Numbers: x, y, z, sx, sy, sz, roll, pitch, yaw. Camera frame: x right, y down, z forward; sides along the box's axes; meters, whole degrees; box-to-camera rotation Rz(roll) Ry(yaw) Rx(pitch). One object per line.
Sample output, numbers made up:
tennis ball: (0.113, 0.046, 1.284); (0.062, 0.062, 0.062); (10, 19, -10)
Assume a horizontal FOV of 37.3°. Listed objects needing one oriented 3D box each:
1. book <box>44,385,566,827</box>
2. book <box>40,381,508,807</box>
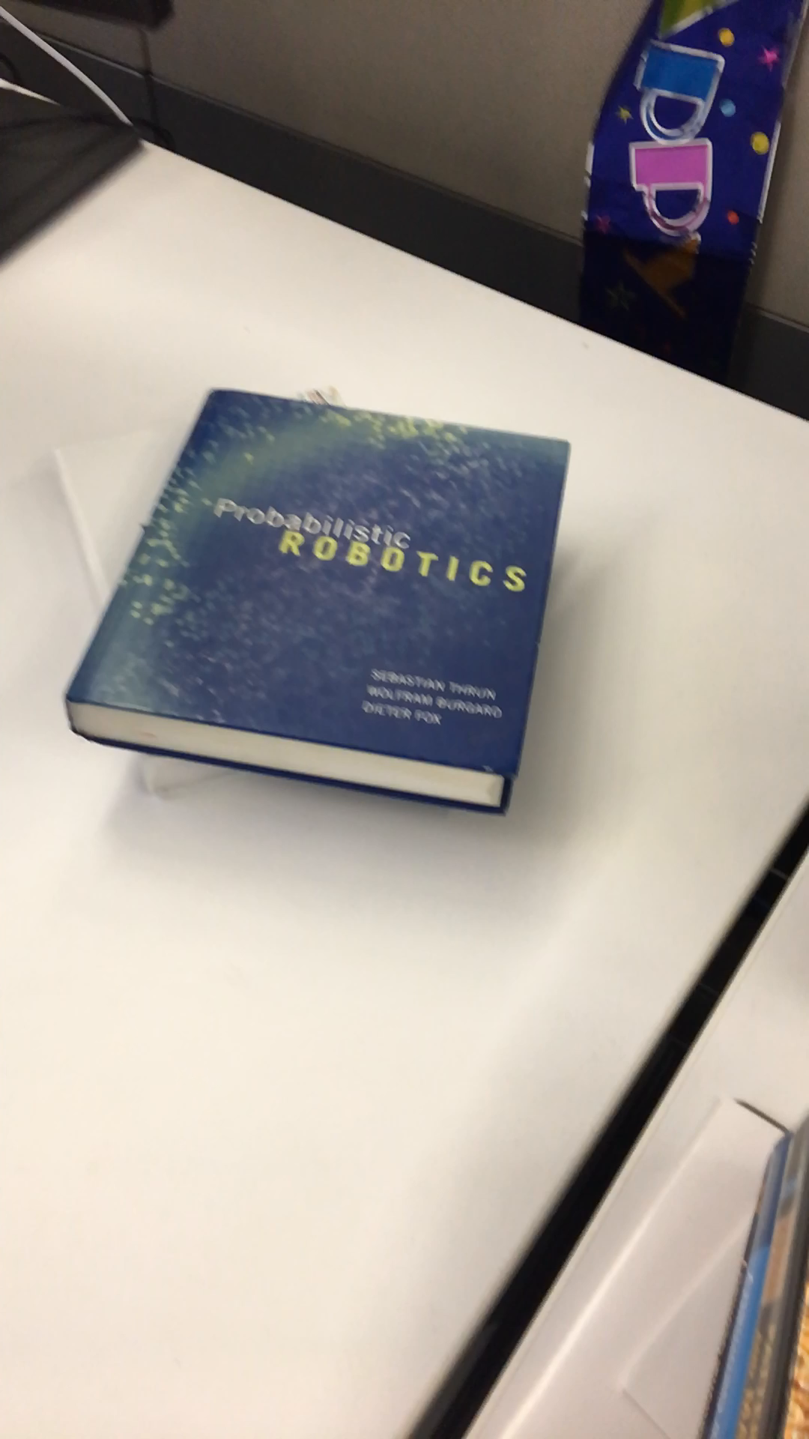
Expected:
book: (-0.036, -0.070, 0.608); (0.210, 0.030, 0.240); (9, 53, 6)
book: (-0.079, -0.082, 0.658); (0.190, 0.030, 0.240); (-16, 55, -13)
